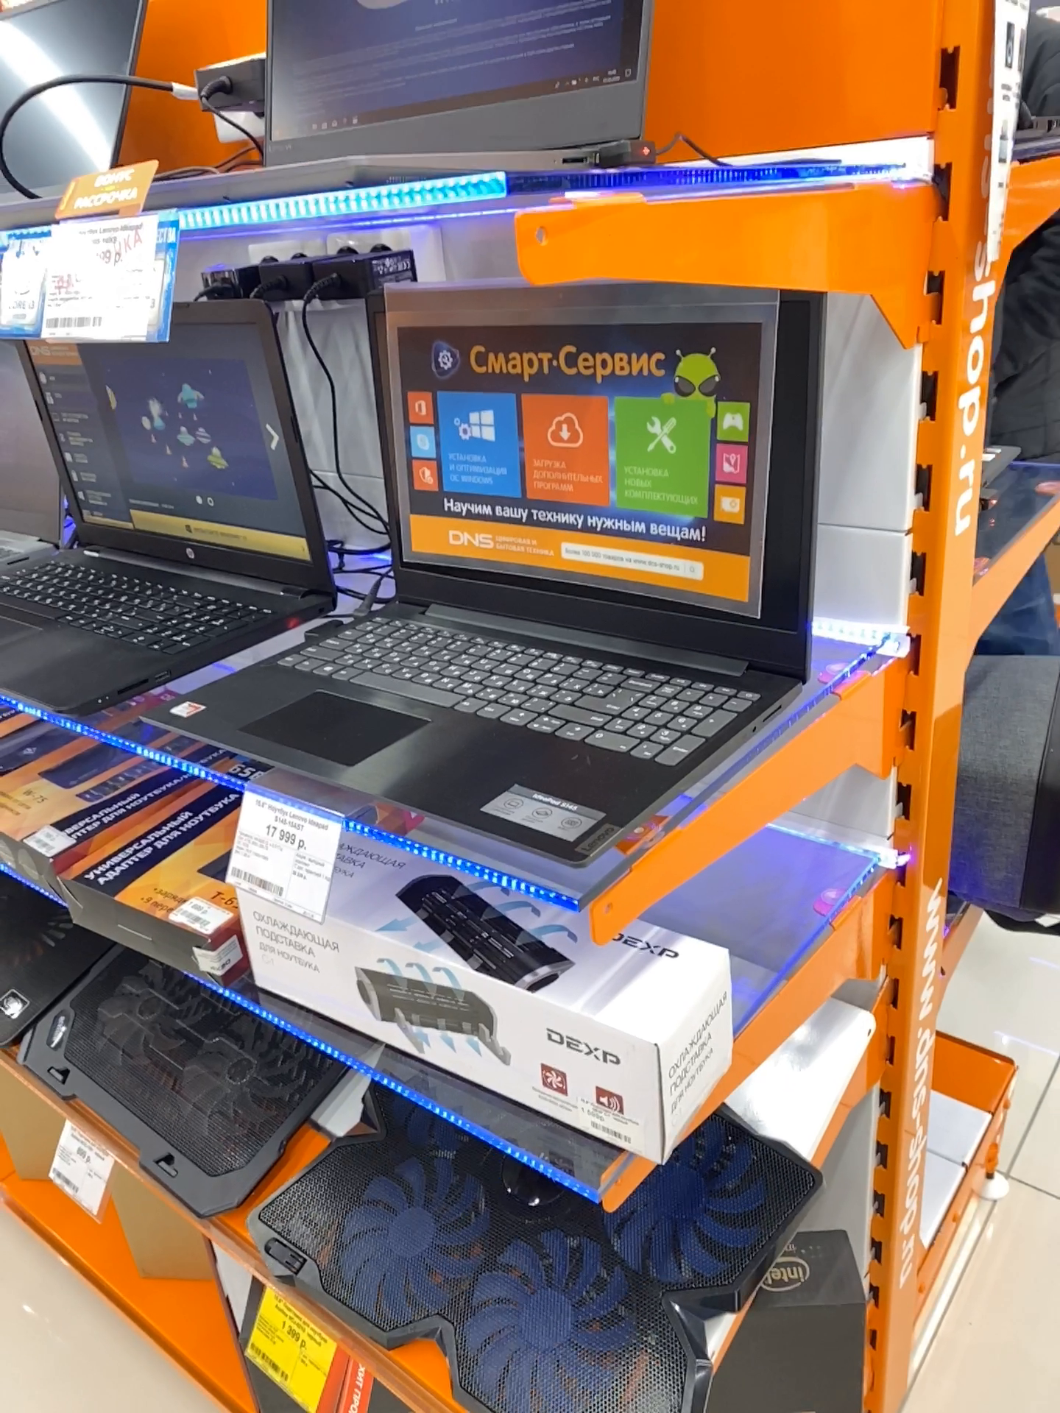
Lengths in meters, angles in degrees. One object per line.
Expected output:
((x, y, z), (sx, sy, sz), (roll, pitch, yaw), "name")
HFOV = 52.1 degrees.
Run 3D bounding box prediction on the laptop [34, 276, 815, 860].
((-0.053, -0.116, 0.662), (0.358, 0.236, 0.266), (13, 29, 35), "laptop")
